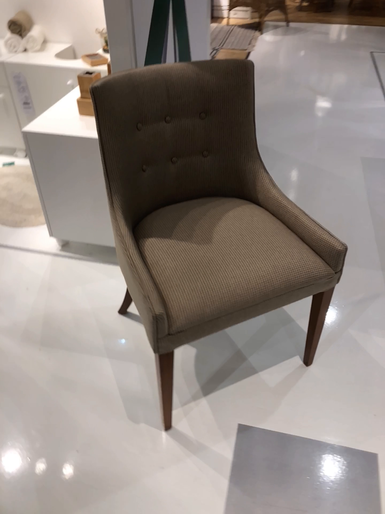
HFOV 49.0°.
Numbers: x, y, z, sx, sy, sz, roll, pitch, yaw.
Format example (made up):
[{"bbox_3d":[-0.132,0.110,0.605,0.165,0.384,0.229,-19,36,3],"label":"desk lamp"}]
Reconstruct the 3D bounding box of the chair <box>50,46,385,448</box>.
[{"bbox_3d":[0.042,-0.049,1.169,0.591,0.794,0.594,-16,42,-18],"label":"chair"}]
